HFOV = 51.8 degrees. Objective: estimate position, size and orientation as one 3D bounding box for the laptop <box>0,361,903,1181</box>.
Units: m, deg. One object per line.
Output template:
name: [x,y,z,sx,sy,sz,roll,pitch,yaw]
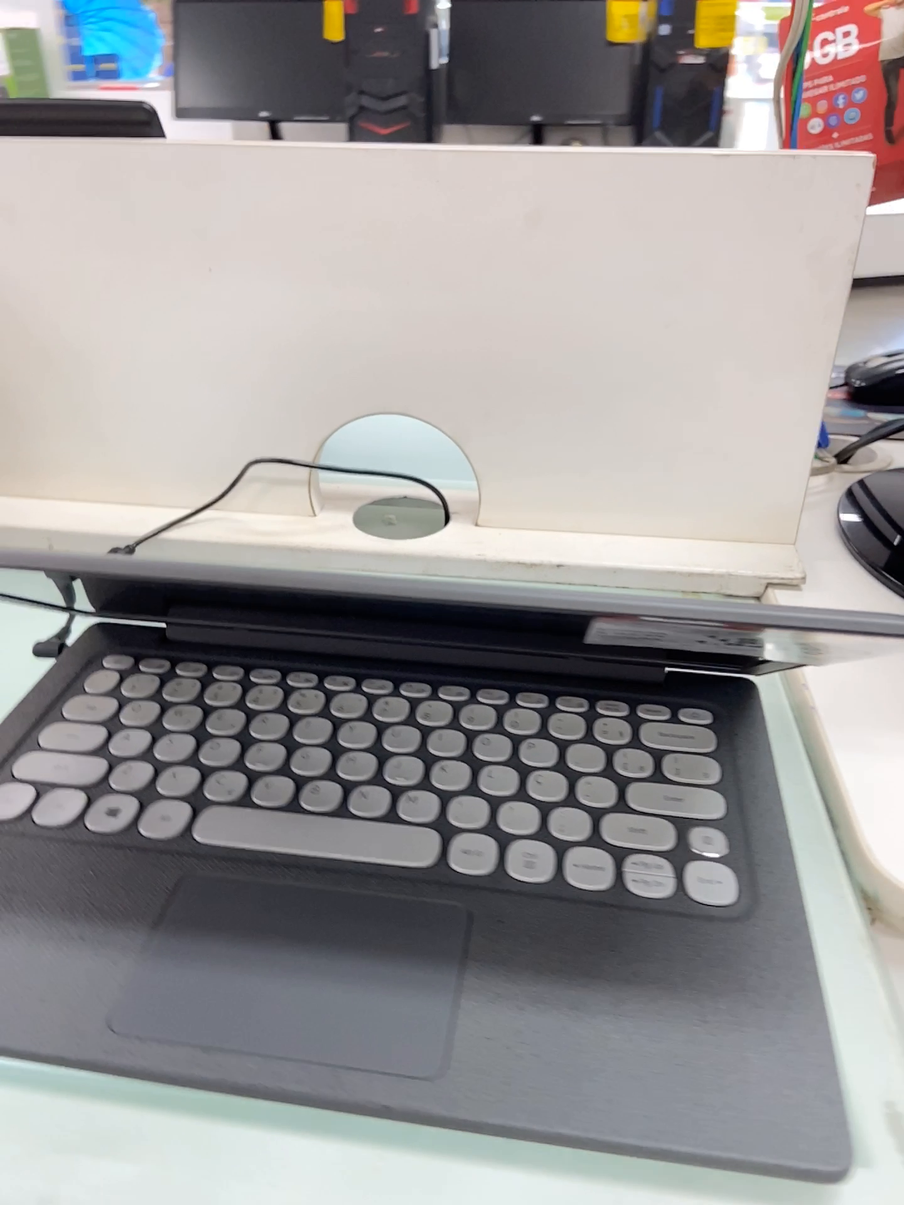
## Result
laptop: [-0.035,0.022,0.312,0.316,0.132,0.213,4,31,8]
